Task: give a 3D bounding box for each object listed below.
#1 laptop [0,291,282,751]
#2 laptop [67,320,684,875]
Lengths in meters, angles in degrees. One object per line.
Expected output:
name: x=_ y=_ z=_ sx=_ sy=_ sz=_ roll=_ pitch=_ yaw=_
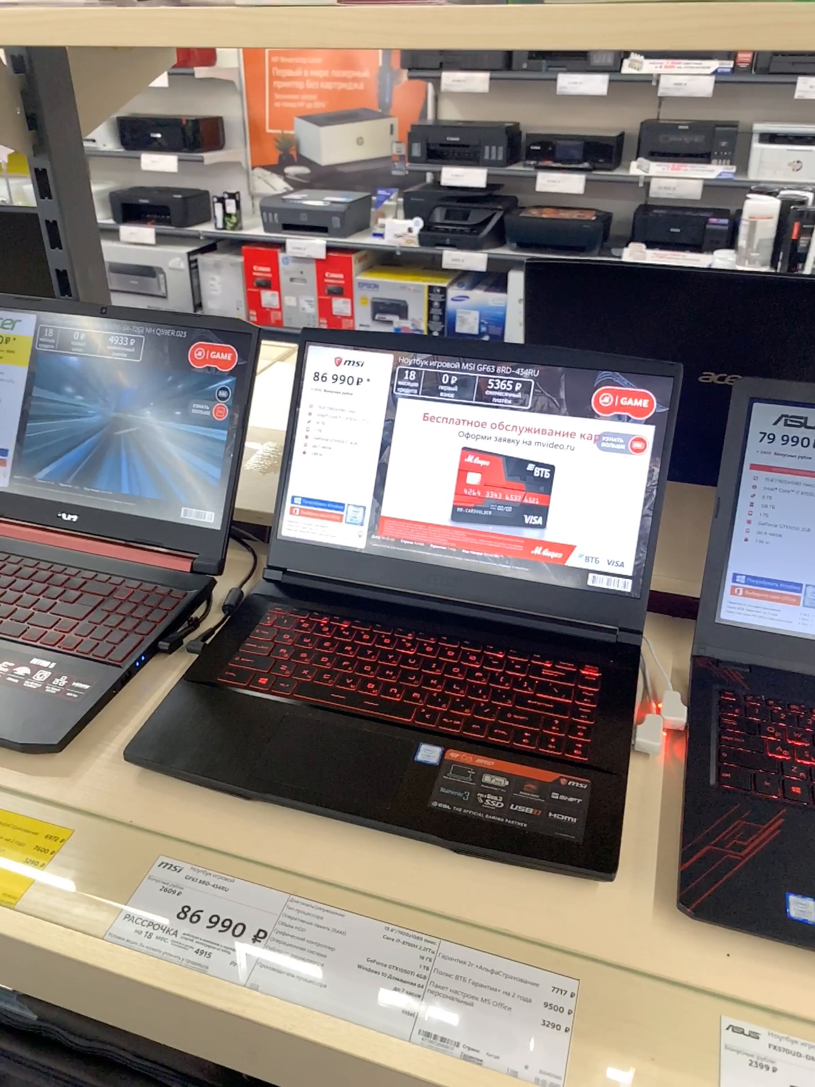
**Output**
laptop: x=-0.359 y=-0.058 z=0.744 sx=0.334 sy=0.211 sz=0.373 roll=10 pitch=32 yaw=16
laptop: x=0.016 y=-0.003 z=0.663 sx=0.350 sy=0.204 sz=0.372 roll=9 pitch=33 yaw=14
